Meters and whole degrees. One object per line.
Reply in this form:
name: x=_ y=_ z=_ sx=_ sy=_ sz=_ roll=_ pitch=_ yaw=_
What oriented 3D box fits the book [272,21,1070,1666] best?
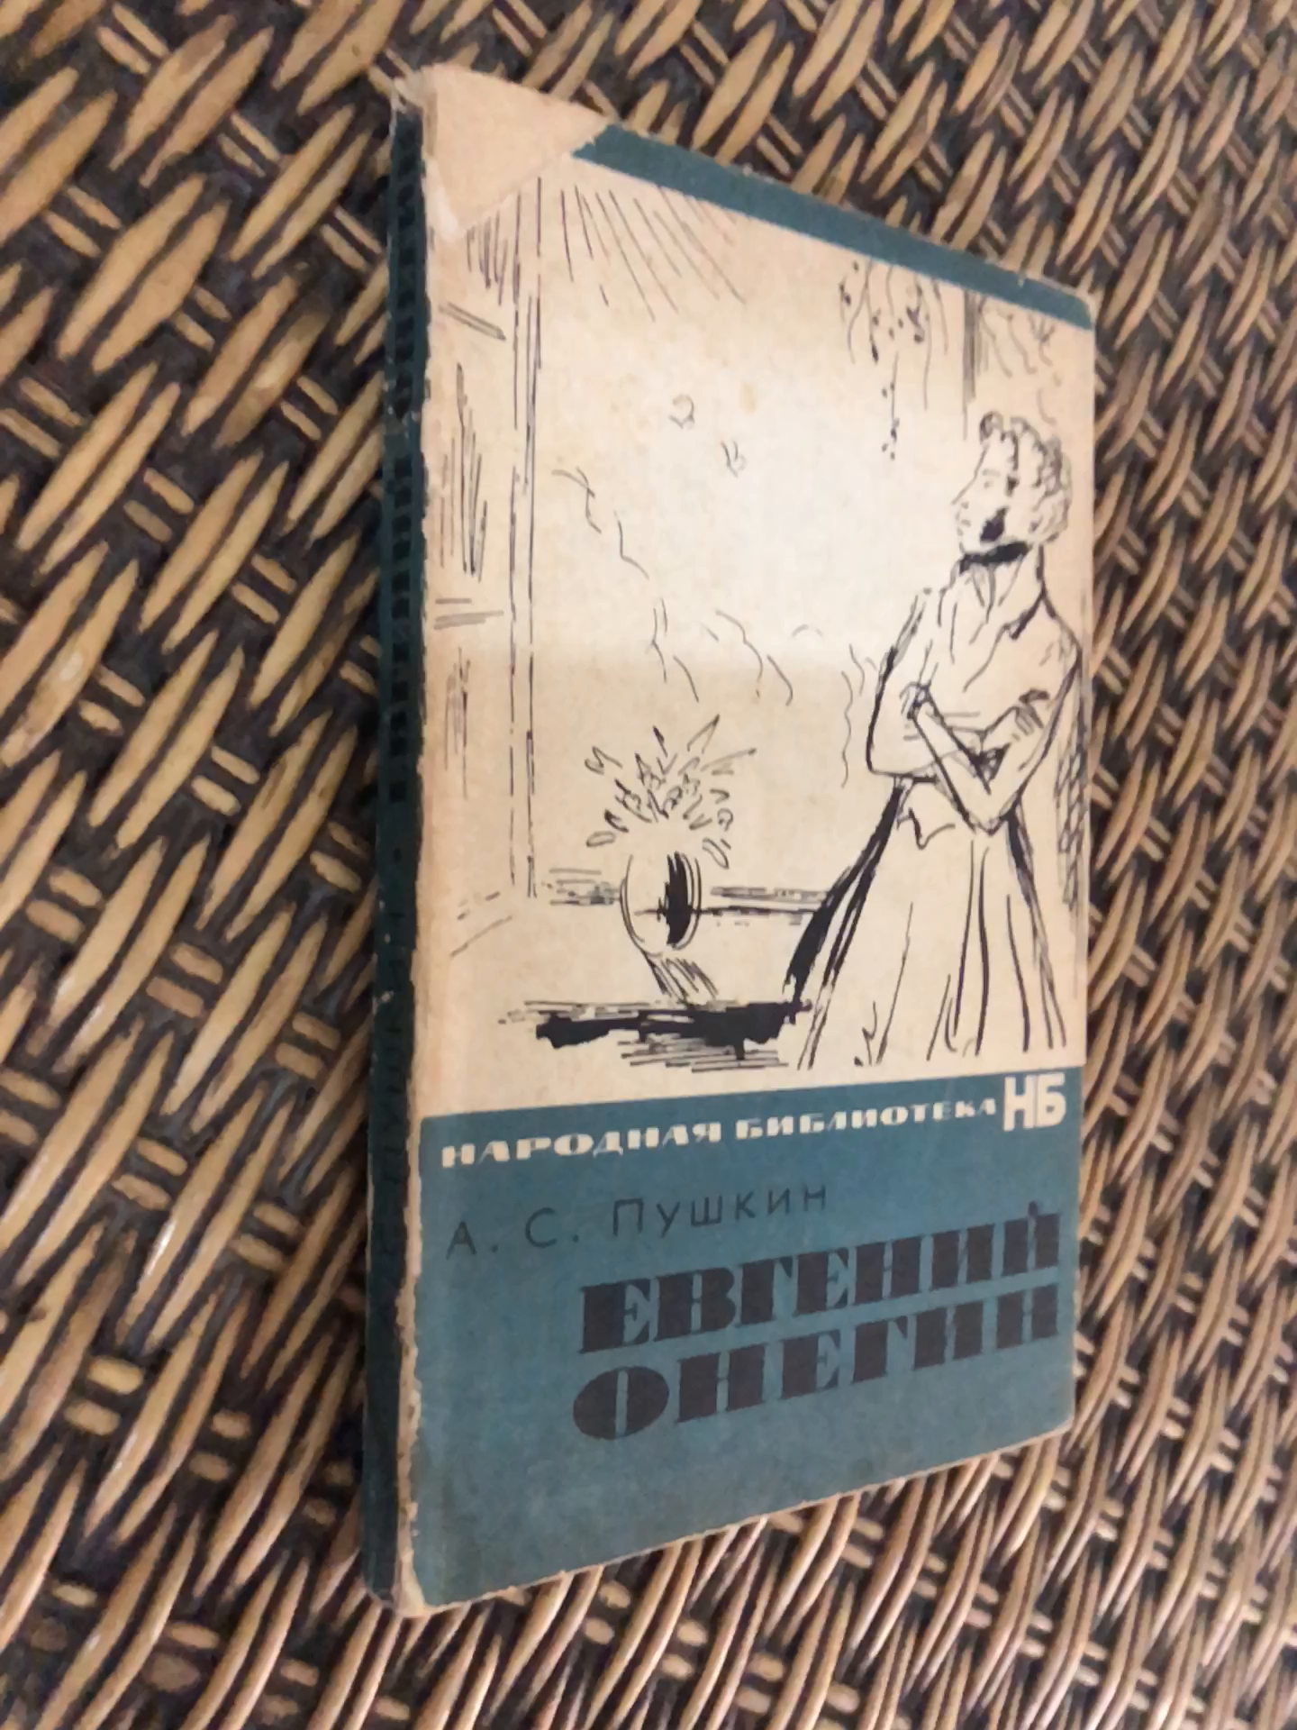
book: x=0.010 y=-0.002 z=0.209 sx=0.121 sy=0.020 sz=0.190 roll=2 pitch=89 yaw=-33
